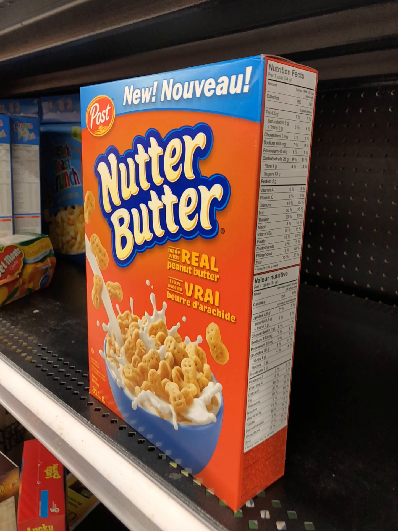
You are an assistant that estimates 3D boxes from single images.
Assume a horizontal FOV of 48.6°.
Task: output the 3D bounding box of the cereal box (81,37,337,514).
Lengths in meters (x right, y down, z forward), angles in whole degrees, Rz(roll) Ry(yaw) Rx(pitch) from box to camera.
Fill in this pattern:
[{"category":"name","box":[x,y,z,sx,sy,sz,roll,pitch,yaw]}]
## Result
[{"category":"cereal box","box":[-0.013,-0.002,0.341,0.060,0.279,0.201,-9,17,-41]}]
